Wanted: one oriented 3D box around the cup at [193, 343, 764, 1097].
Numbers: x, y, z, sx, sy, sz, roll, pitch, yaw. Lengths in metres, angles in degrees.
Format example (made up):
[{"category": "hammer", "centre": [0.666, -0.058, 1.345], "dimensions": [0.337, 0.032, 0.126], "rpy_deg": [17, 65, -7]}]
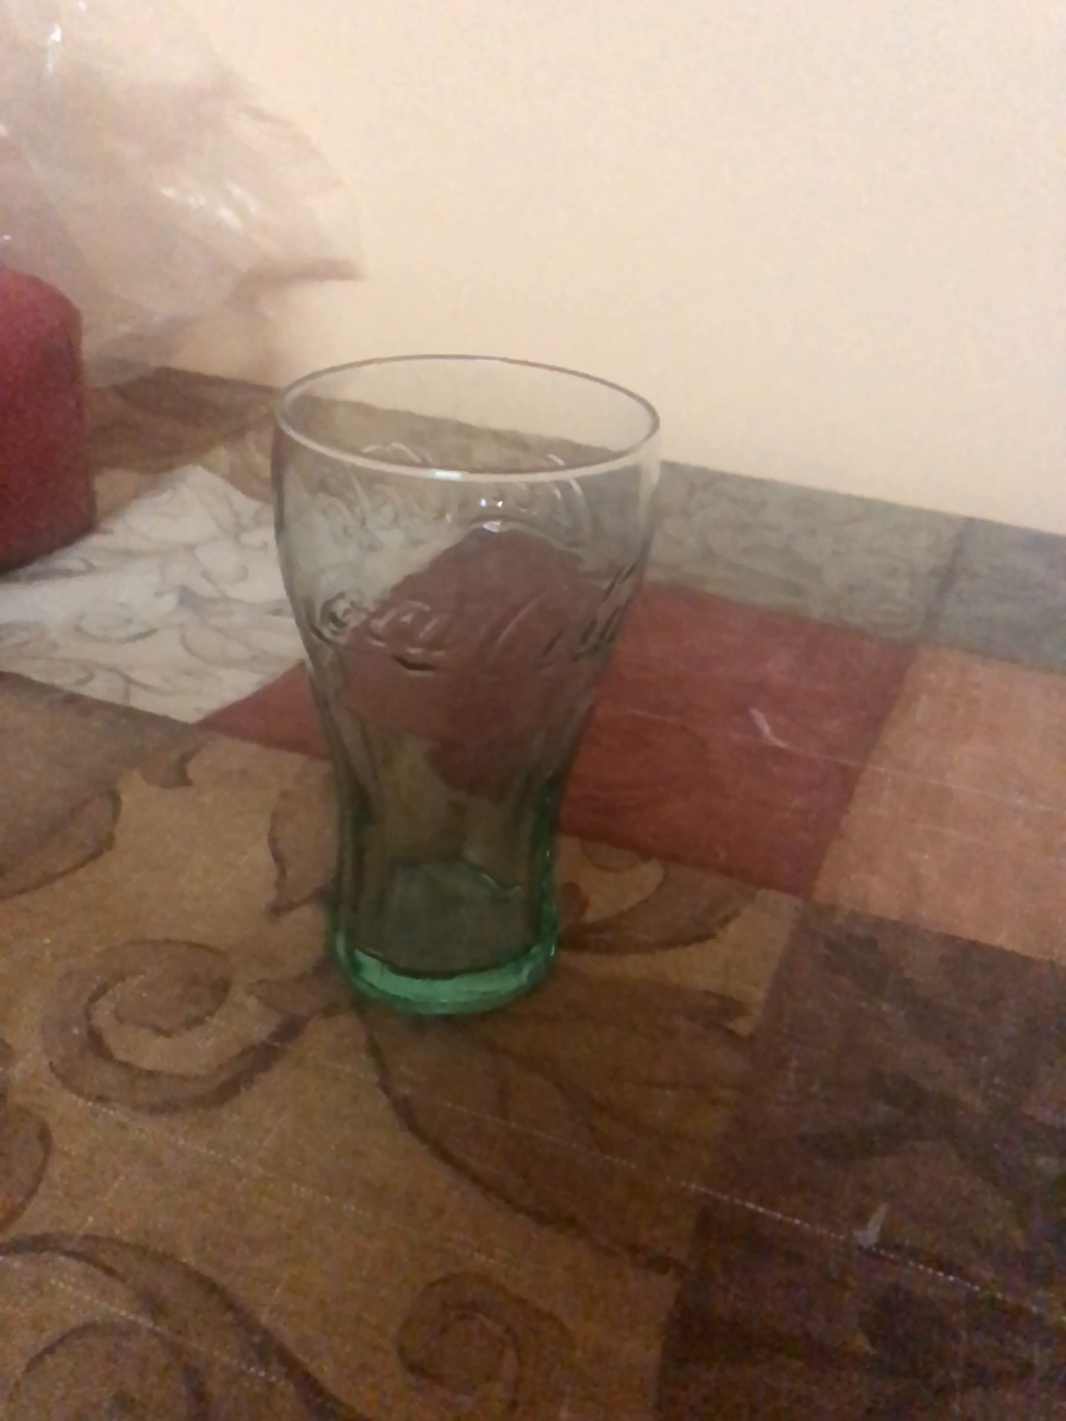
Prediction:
[{"category": "cup", "centre": [-0.016, -0.003, 0.222], "dimensions": [0.070, 0.110, 0.070], "rpy_deg": [4, 30, -3]}]
